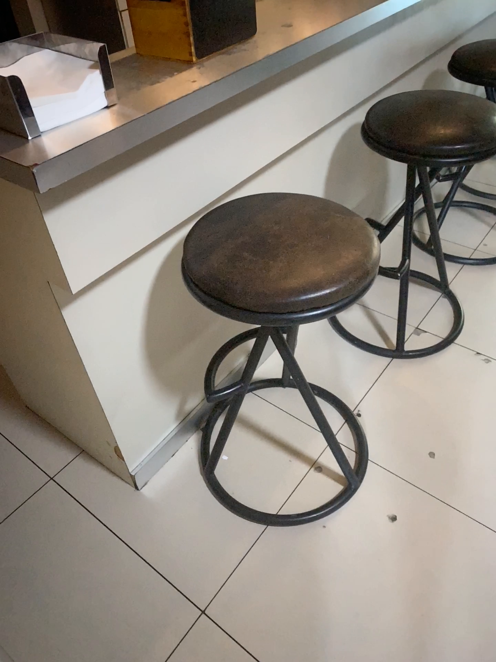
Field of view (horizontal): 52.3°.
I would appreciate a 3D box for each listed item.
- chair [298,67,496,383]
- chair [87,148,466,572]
[{"bbox_3d":[0.536,-0.357,1.654,0.527,0.727,0.552,25,50,28],"label":"chair"},{"bbox_3d":[0.089,0.056,1.261,0.547,0.727,0.552,25,50,28],"label":"chair"}]
